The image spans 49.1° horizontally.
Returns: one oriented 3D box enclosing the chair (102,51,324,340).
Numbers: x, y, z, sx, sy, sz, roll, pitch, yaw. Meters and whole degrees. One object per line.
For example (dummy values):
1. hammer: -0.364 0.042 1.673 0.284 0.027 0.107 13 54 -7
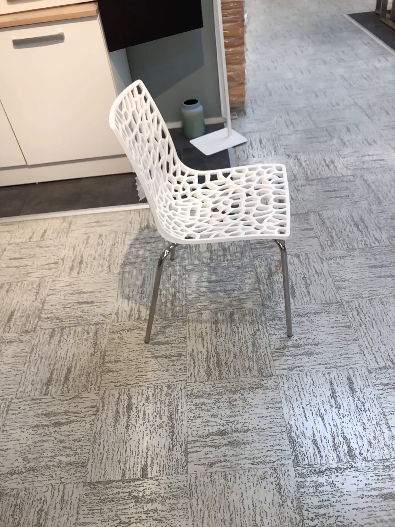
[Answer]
1. chair: 0.089 -0.185 1.411 0.510 0.786 0.453 -1 41 8
